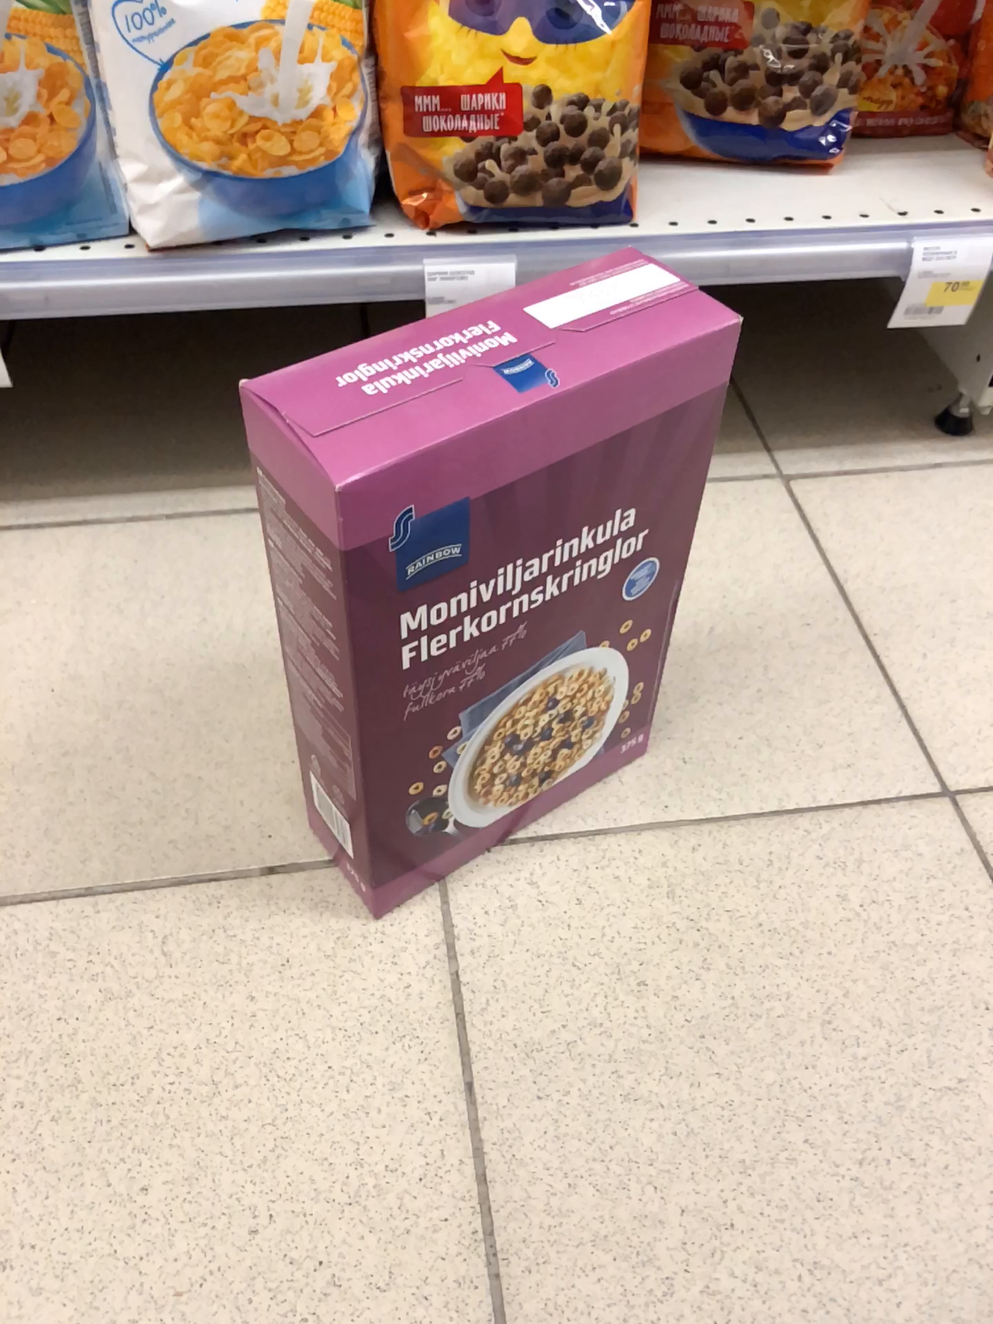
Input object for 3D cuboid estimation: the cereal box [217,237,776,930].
[{"bbox_3d":[0.003,-0.027,0.526,0.210,0.278,0.080,-28,53,-25],"label":"cereal box"}]
